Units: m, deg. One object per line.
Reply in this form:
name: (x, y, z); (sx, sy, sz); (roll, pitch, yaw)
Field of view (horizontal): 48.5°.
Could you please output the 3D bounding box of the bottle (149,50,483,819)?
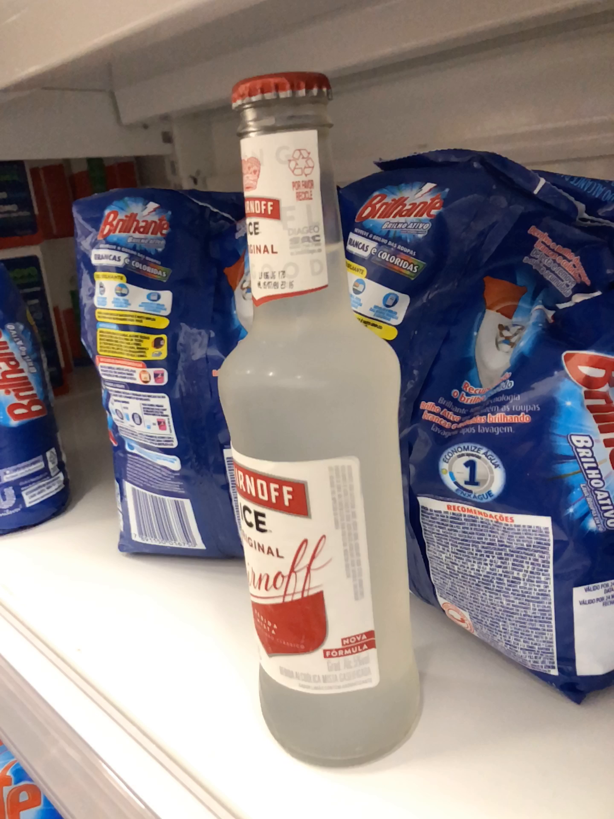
bottle: (0.007, 0.009, 0.219); (0.060, 0.209, 0.070); (-16, 20, -33)
